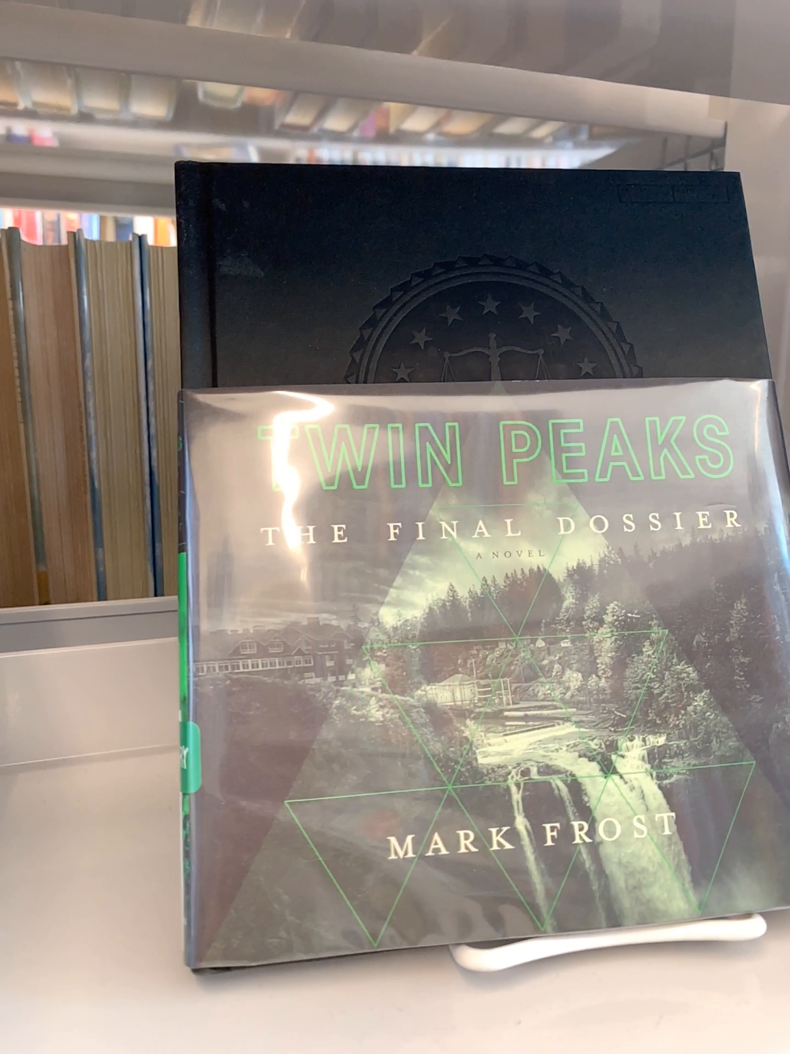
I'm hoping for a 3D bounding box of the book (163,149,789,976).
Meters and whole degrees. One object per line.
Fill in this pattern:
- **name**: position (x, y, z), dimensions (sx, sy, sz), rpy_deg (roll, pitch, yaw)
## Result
- **book**: position (0.030, 0.000, 0.247), dimensions (0.190, 0.228, 0.020), rpy_deg (-2, -8, -8)
